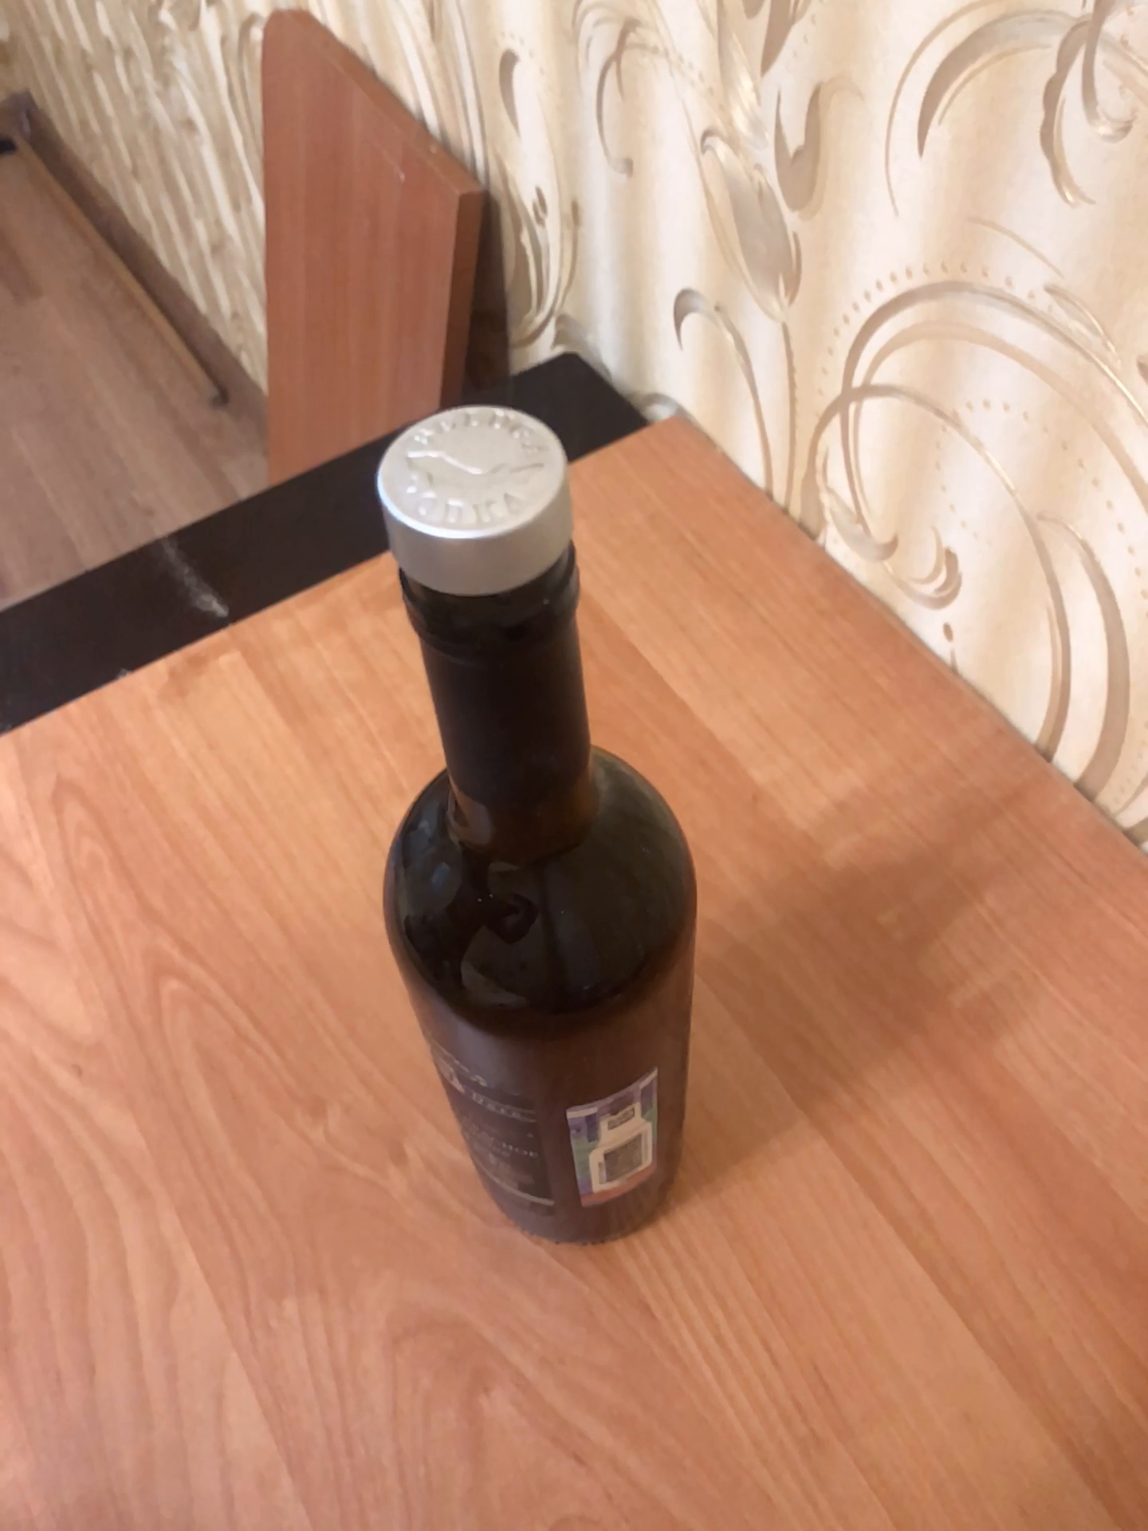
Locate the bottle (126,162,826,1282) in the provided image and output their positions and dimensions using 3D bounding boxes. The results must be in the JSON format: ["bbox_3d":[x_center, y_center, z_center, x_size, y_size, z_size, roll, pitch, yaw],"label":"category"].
[{"bbox_3d":[-0.008,0.034,0.319,0.073,0.322,0.084,-26,58,-13],"label":"bottle"}]
